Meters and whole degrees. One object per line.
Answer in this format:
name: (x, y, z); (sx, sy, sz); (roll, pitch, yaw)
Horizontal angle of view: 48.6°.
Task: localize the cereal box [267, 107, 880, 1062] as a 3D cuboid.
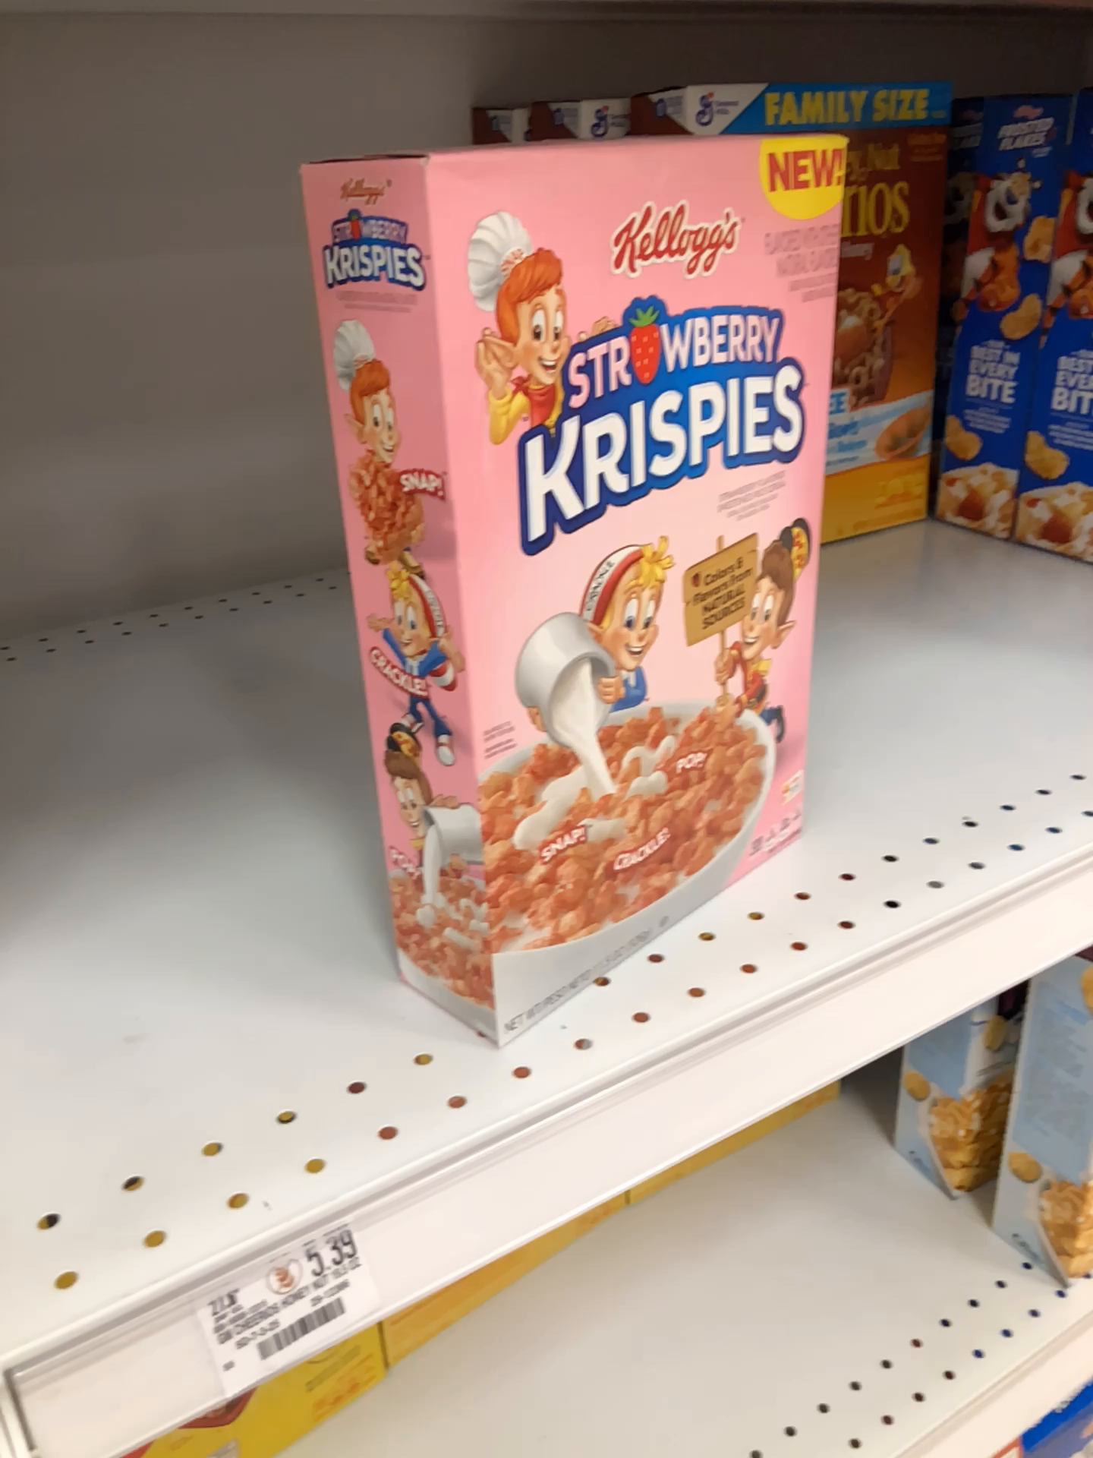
cereal box: (0.022, -0.059, 0.437); (0.070, 0.289, 0.200); (23, 36, 39)
